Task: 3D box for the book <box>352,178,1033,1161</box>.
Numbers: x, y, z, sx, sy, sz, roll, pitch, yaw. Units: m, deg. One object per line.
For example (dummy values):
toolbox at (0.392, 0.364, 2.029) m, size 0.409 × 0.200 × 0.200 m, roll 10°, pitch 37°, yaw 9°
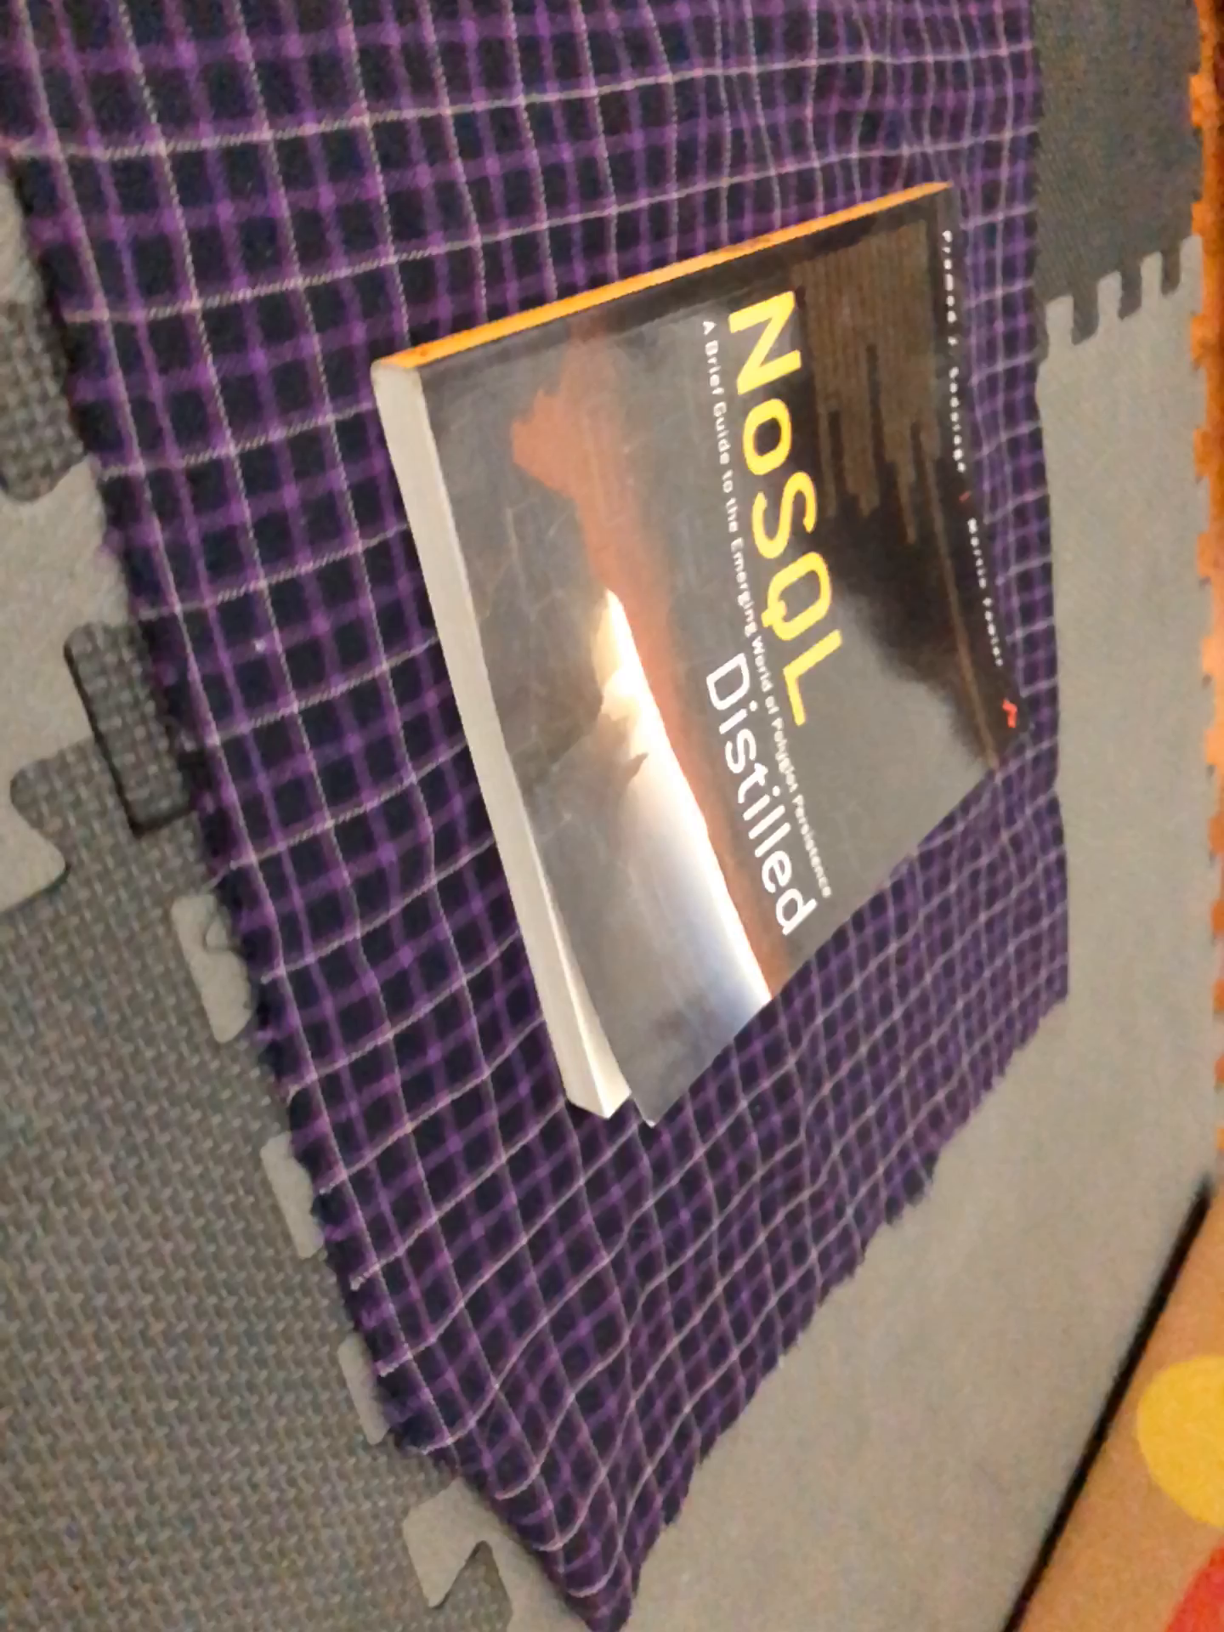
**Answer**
book at (0.052, -0.058, 0.383) m, size 0.251 × 0.020 × 0.190 m, roll -38°, pitch 123°, yaw -42°
